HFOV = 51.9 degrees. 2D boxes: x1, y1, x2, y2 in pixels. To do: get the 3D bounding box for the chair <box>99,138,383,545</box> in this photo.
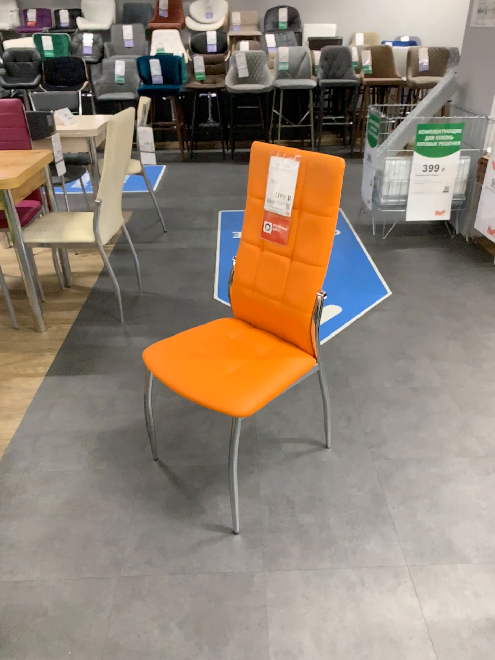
[{"bbox_3d":[-0.011,0.011,1.563,0.542,1.014,0.491,-26,39,-36],"label":"chair"}]
